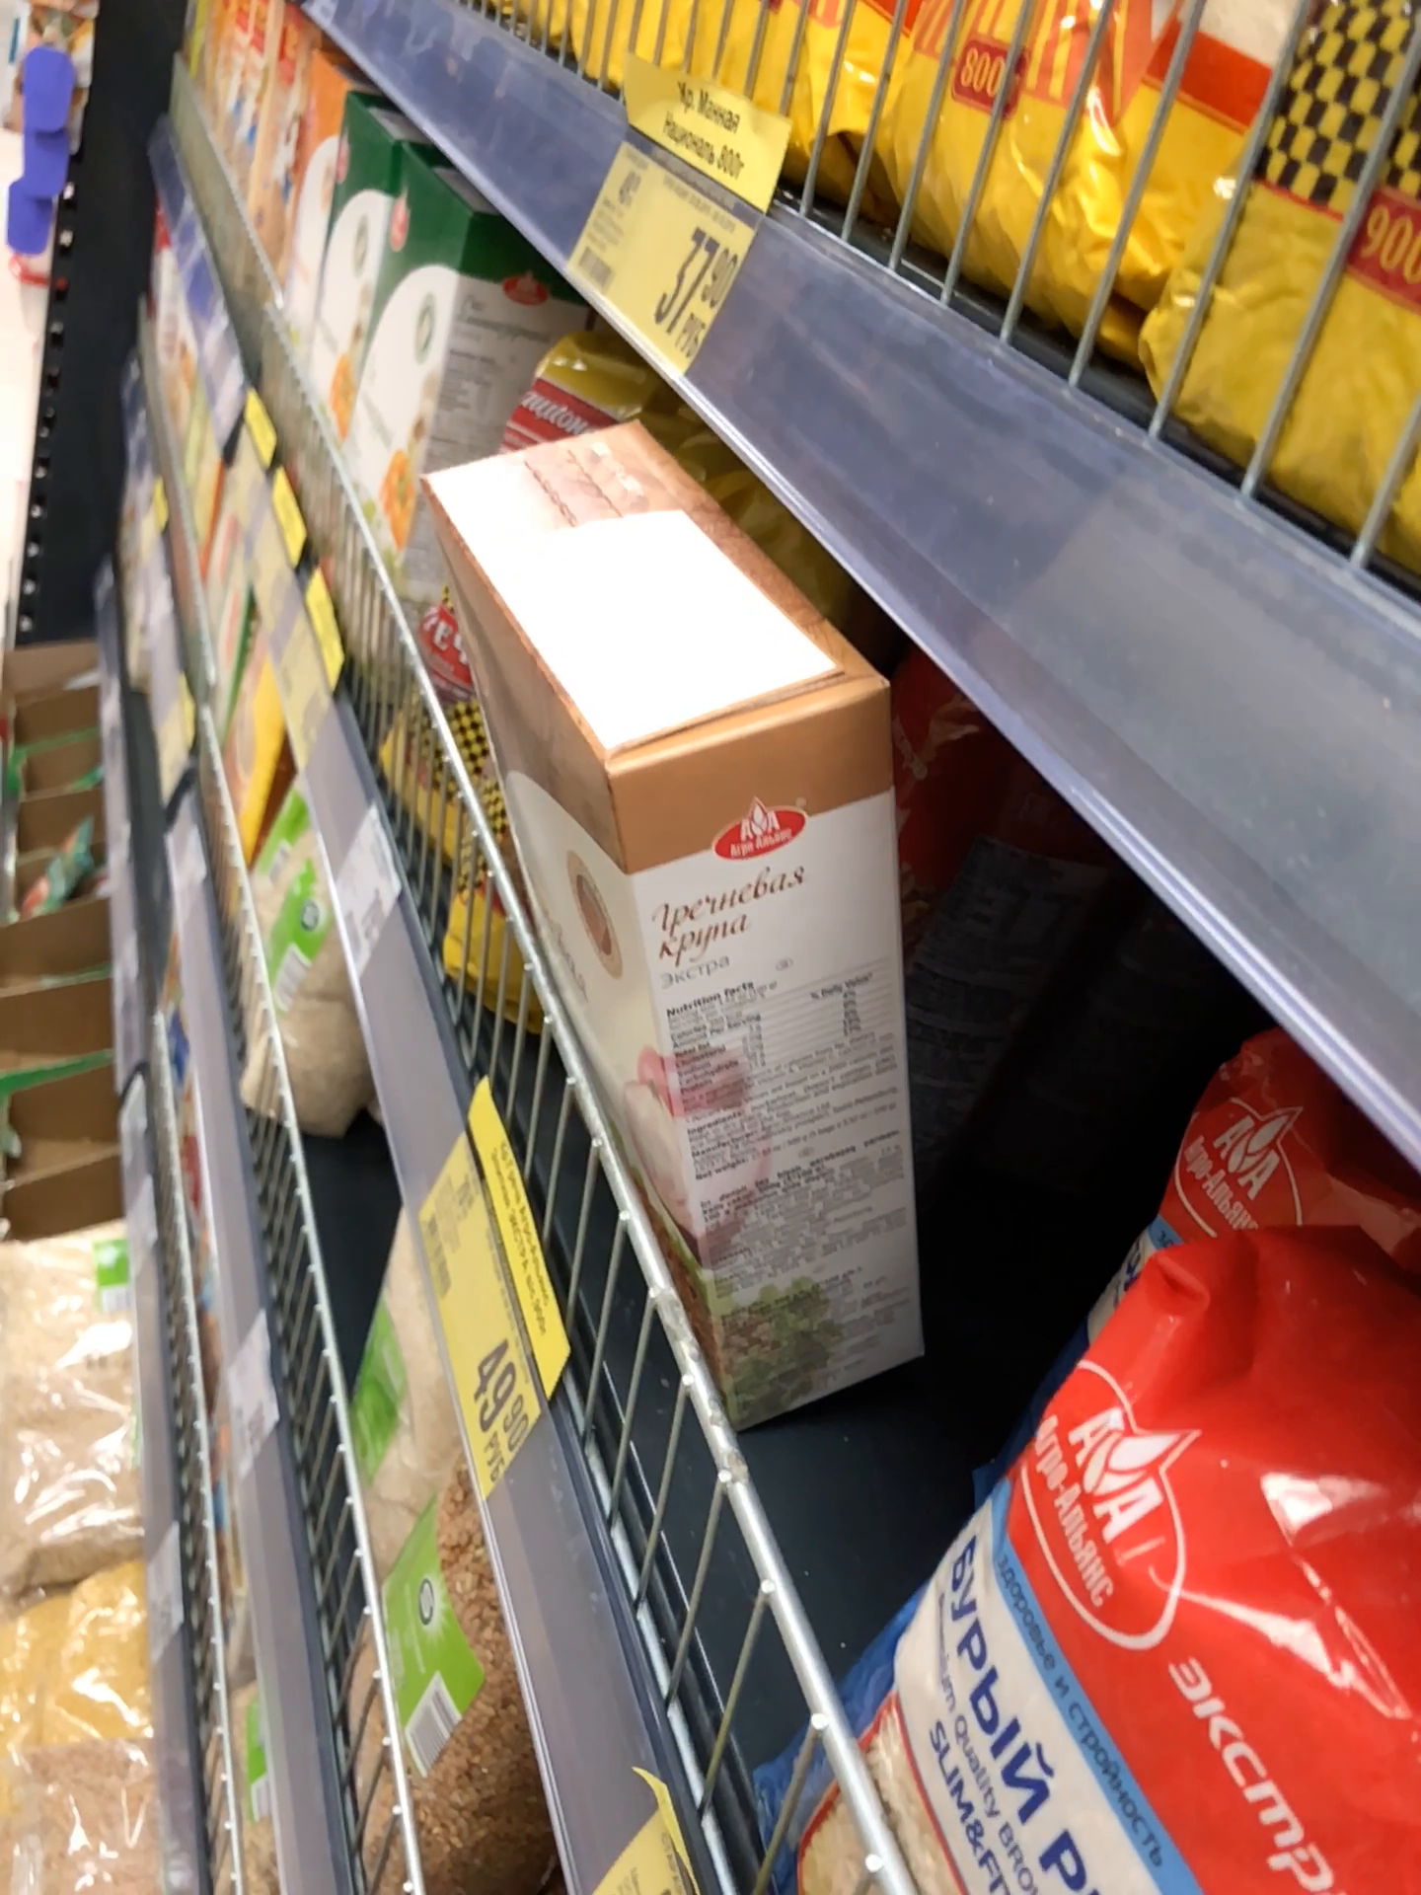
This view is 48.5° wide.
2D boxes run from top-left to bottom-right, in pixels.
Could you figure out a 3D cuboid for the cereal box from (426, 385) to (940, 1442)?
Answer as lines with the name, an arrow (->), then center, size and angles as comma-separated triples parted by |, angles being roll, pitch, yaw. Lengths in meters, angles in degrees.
cereal box -> -0.004, -0.006, 0.369 | 0.050, 0.199, 0.141 | -19, 41, -12
